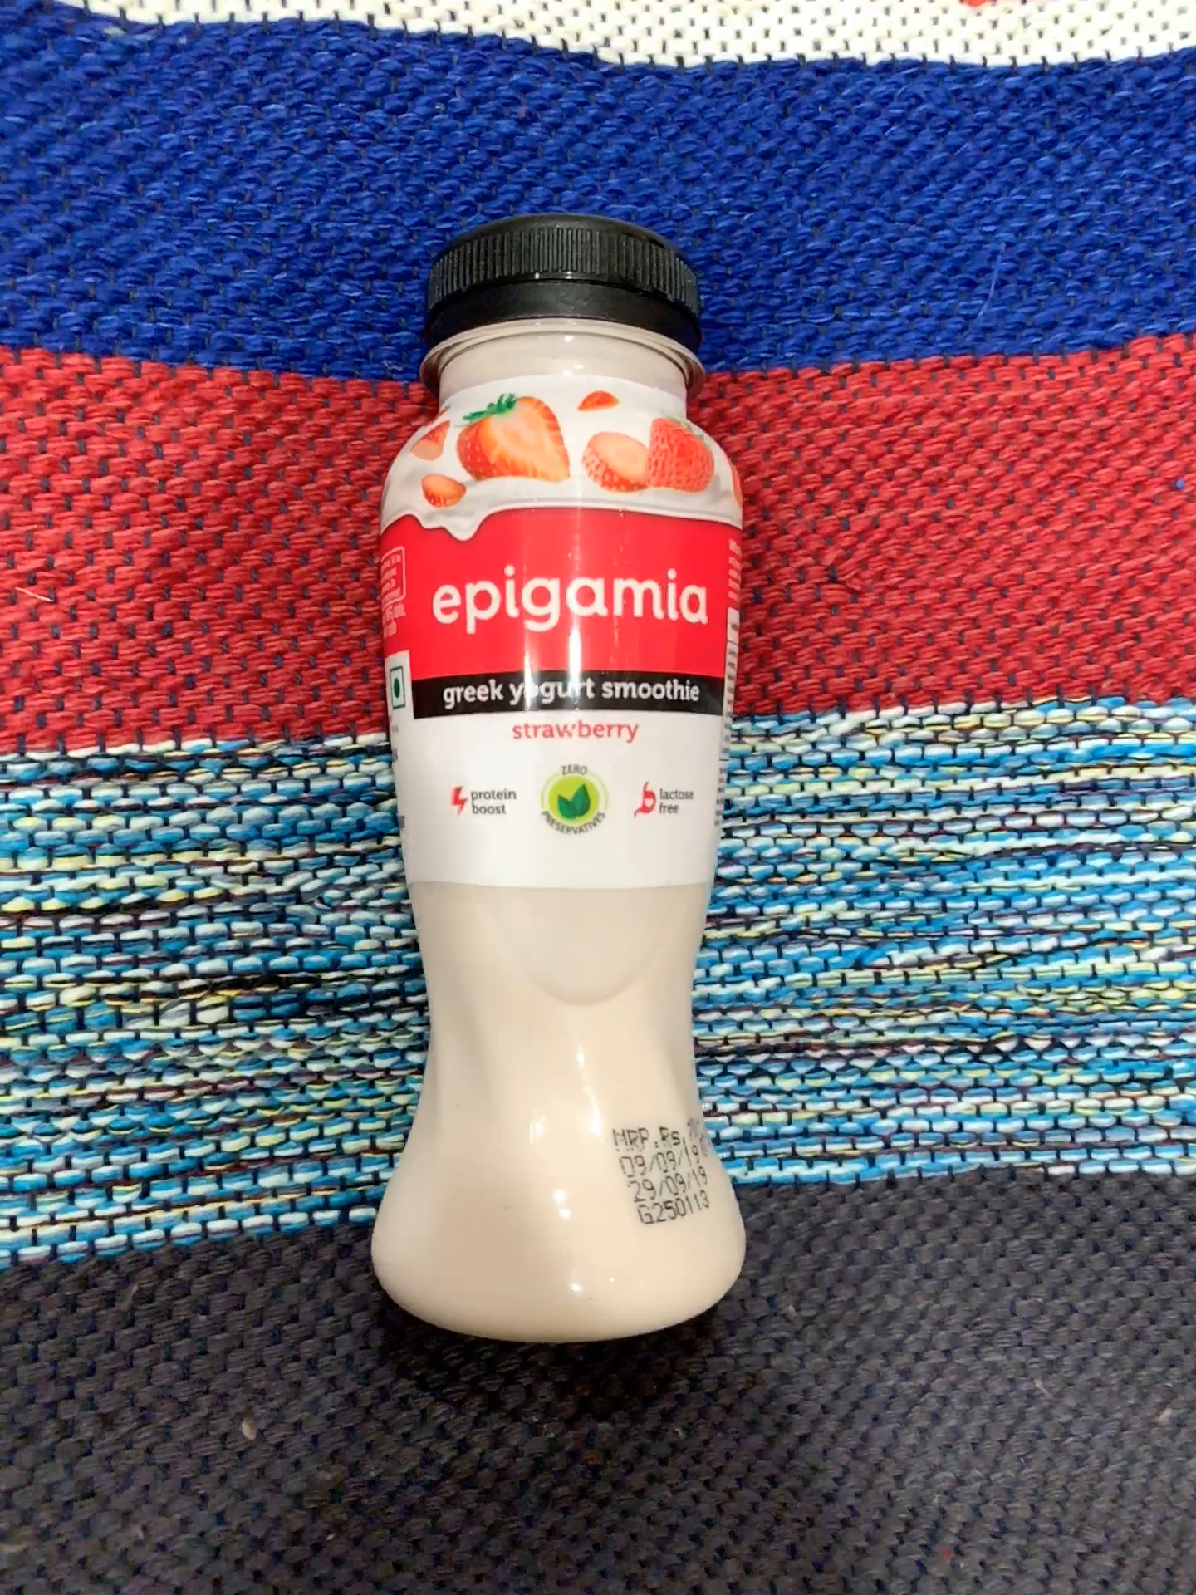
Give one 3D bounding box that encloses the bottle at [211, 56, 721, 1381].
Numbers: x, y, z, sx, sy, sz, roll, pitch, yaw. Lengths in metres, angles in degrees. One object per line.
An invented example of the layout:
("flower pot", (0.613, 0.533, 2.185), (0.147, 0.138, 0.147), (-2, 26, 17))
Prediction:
("bottle", (-0.021, -0.011, 0.179), (0.060, 0.050, 0.160), (0, 84, -12))
